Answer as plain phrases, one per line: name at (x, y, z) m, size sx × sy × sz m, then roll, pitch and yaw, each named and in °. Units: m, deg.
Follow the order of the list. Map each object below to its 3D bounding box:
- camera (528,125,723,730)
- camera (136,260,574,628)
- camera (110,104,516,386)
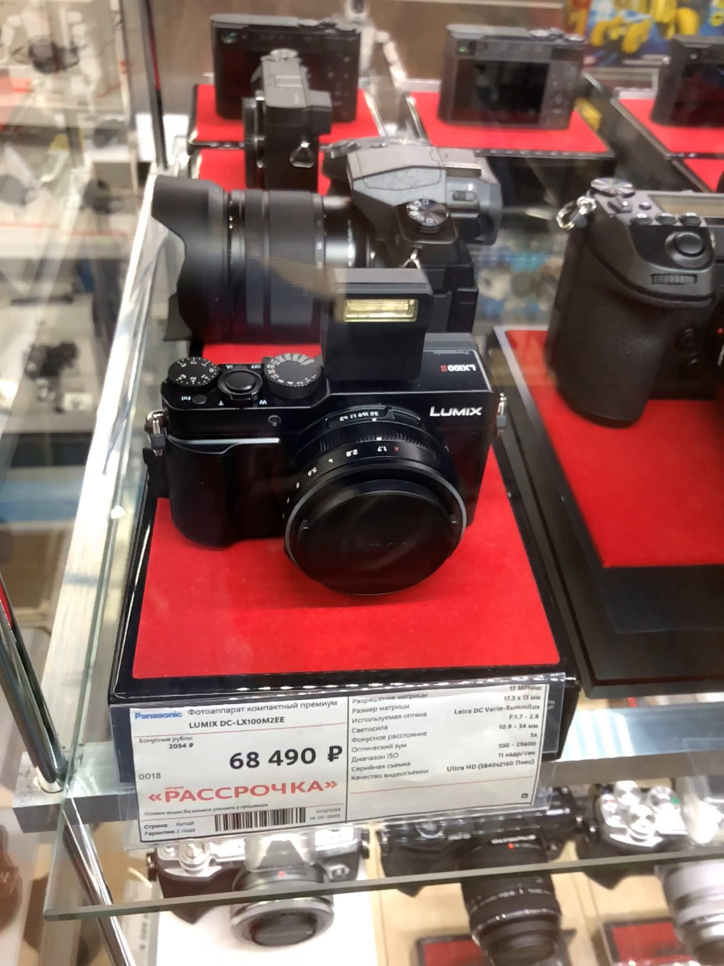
camera at (0.191, -0.041, 0.318) m, size 0.175 × 0.114 × 0.227 m, roll -1°, pitch 42°, yaw -7°
camera at (-0.007, -0.013, 0.272) m, size 0.117 × 0.098 × 0.070 m, roll -1°, pitch 42°, yaw -7°
camera at (-0.022, -0.107, 0.360) m, size 0.149 × 0.081 × 0.099 m, roll 0°, pitch 41°, yaw -5°
